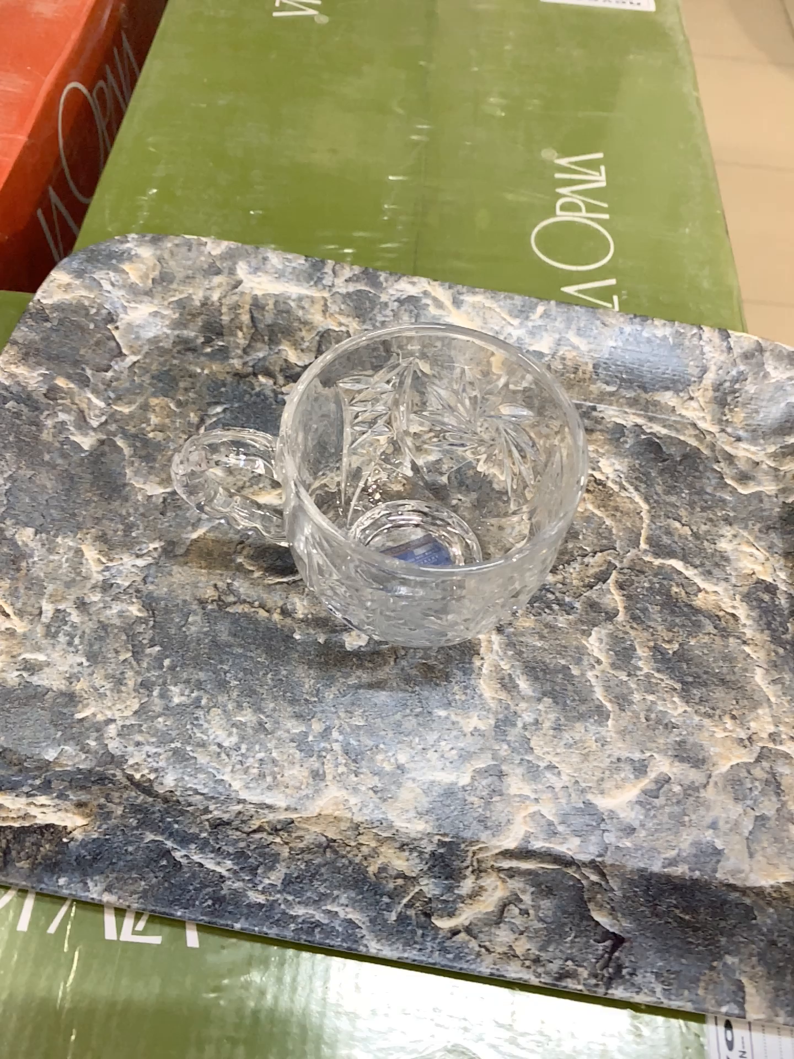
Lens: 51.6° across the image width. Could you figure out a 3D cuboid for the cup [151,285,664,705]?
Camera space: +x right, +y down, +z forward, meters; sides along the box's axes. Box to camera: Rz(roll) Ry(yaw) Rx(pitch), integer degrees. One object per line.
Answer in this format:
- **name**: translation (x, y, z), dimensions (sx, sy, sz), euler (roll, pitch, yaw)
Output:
- **cup**: translation (0.000, -0.006, 0.210), dimensions (0.100, 0.070, 0.080), euler (0, 59, -4)
